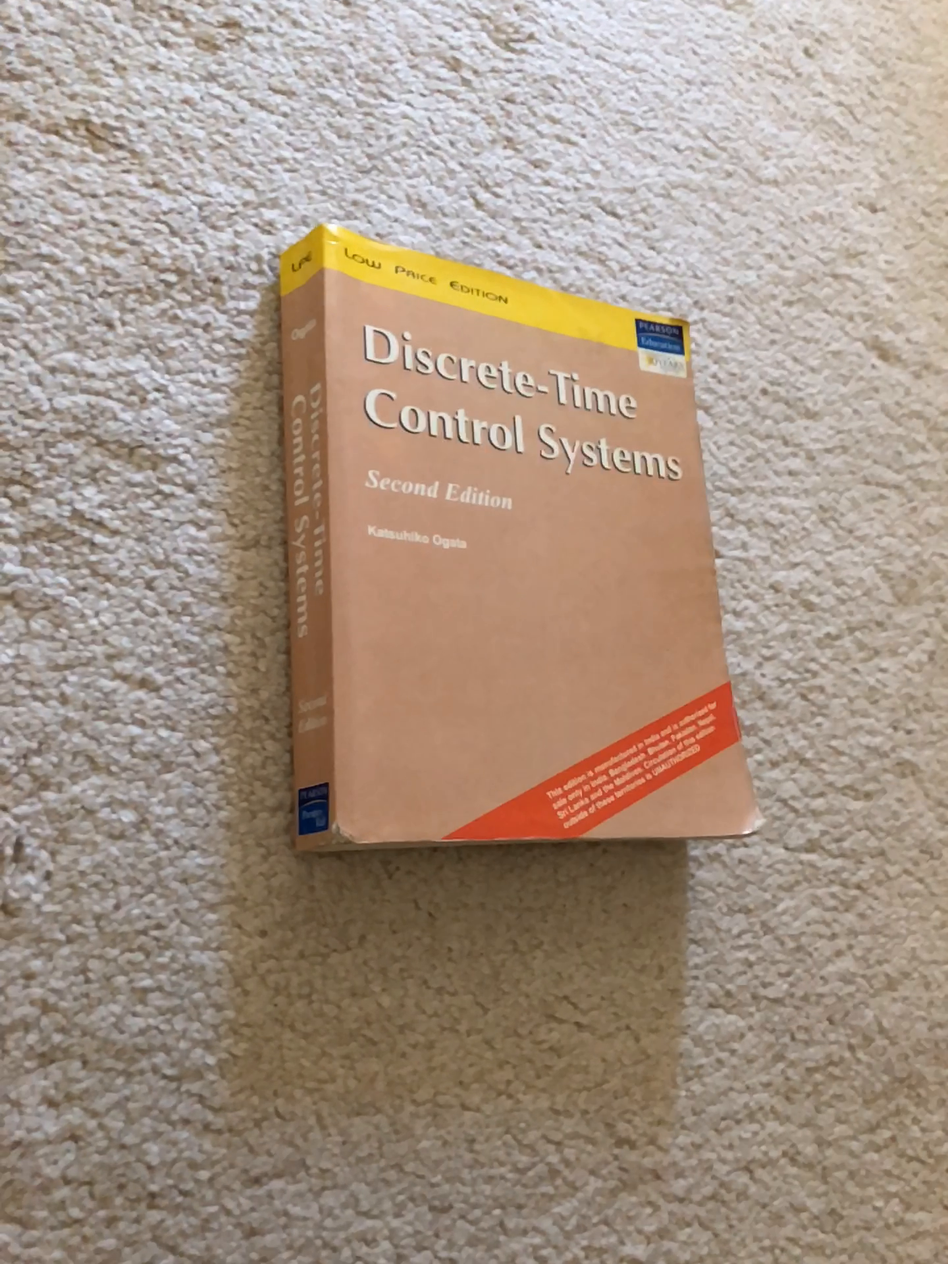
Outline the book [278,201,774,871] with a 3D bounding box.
[{"bbox_3d":[0.021,-0.033,0.415,0.187,0.035,0.238,5,72,-30],"label":"book"}]
